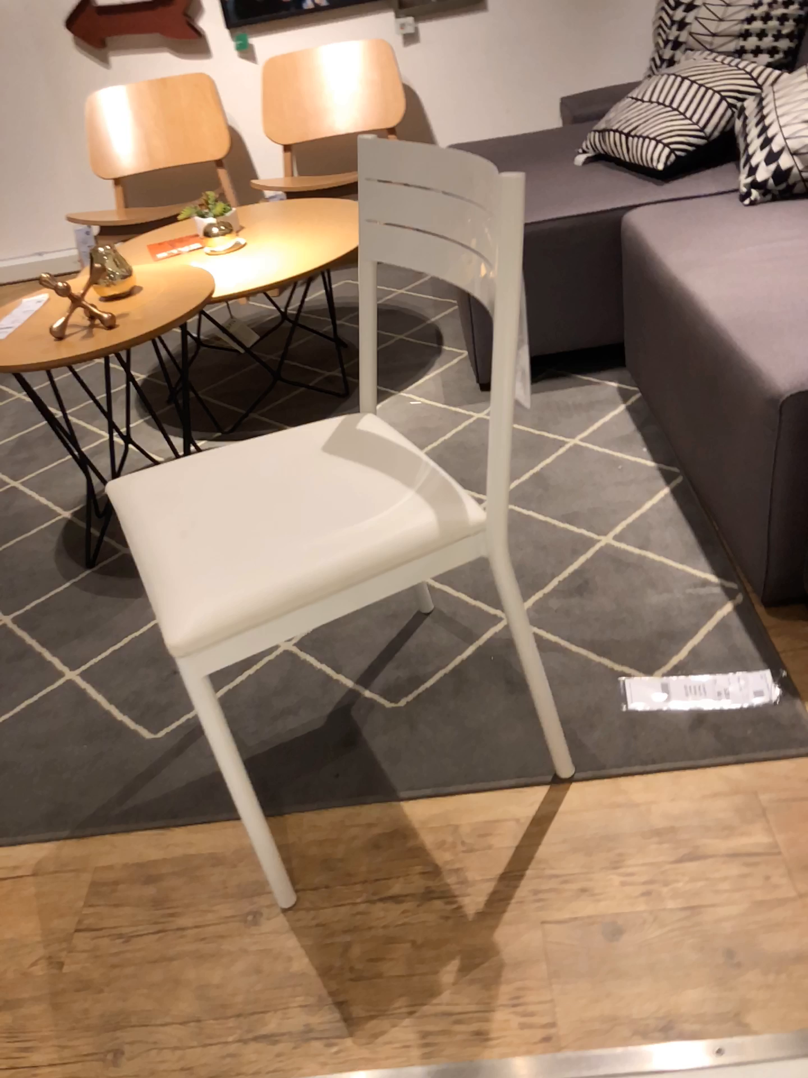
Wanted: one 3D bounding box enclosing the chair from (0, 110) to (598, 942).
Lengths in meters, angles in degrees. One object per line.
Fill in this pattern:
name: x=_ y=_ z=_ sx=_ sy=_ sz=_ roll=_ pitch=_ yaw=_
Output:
chair: x=-0.112 y=-0.031 z=1.073 sx=0.471 sy=0.774 sz=0.453 roll=-22 pitch=35 yaw=-16
